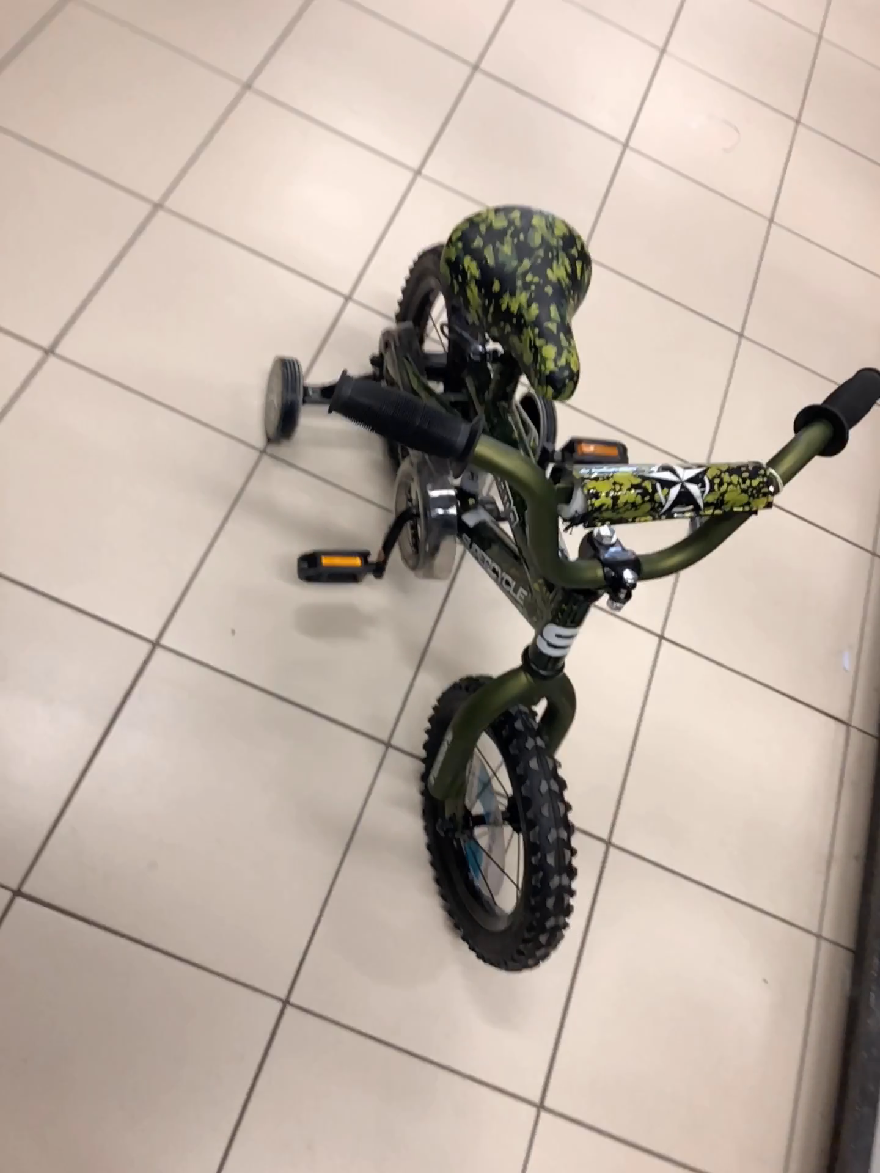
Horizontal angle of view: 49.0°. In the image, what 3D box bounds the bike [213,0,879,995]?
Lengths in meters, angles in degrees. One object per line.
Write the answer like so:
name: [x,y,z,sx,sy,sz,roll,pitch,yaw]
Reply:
bike: [0.095,-0.078,0.945,0.534,0.557,0.817,-1,65,-18]
